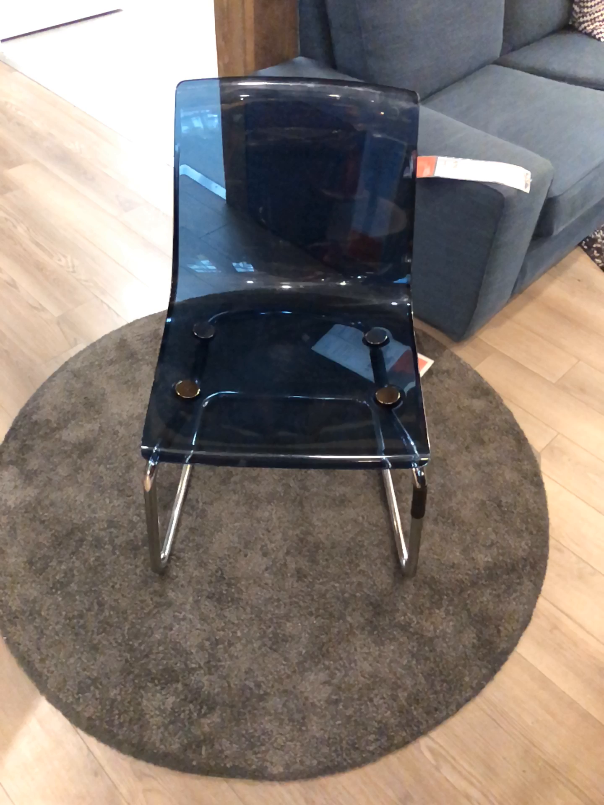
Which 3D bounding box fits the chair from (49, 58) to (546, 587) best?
[{"bbox_3d":[-0.015,-0.088,1.266,0.580,0.867,0.502,2,48,-1],"label":"chair"}]
